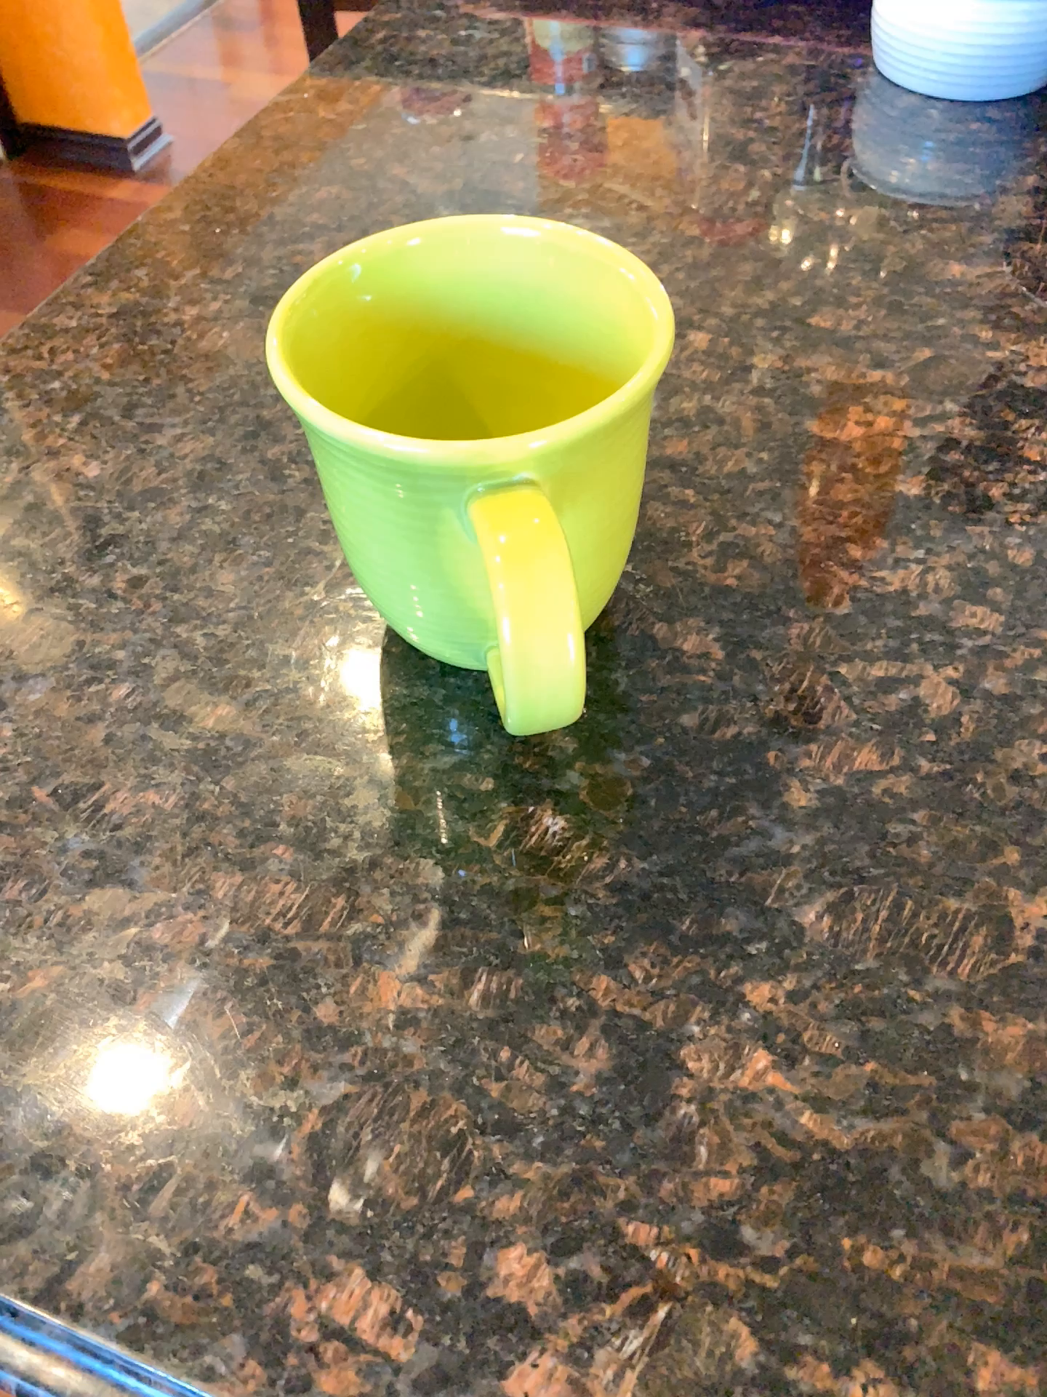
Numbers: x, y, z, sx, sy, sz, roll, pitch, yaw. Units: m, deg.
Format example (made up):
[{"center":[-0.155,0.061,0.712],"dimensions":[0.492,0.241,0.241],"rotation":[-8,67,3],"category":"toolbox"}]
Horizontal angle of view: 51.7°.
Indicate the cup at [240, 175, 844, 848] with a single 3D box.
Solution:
[{"center":[-0.005,-0.056,0.288],"dimensions":[0.110,0.080,0.151],"rotation":[-12,52,-6],"category":"cup"}]
